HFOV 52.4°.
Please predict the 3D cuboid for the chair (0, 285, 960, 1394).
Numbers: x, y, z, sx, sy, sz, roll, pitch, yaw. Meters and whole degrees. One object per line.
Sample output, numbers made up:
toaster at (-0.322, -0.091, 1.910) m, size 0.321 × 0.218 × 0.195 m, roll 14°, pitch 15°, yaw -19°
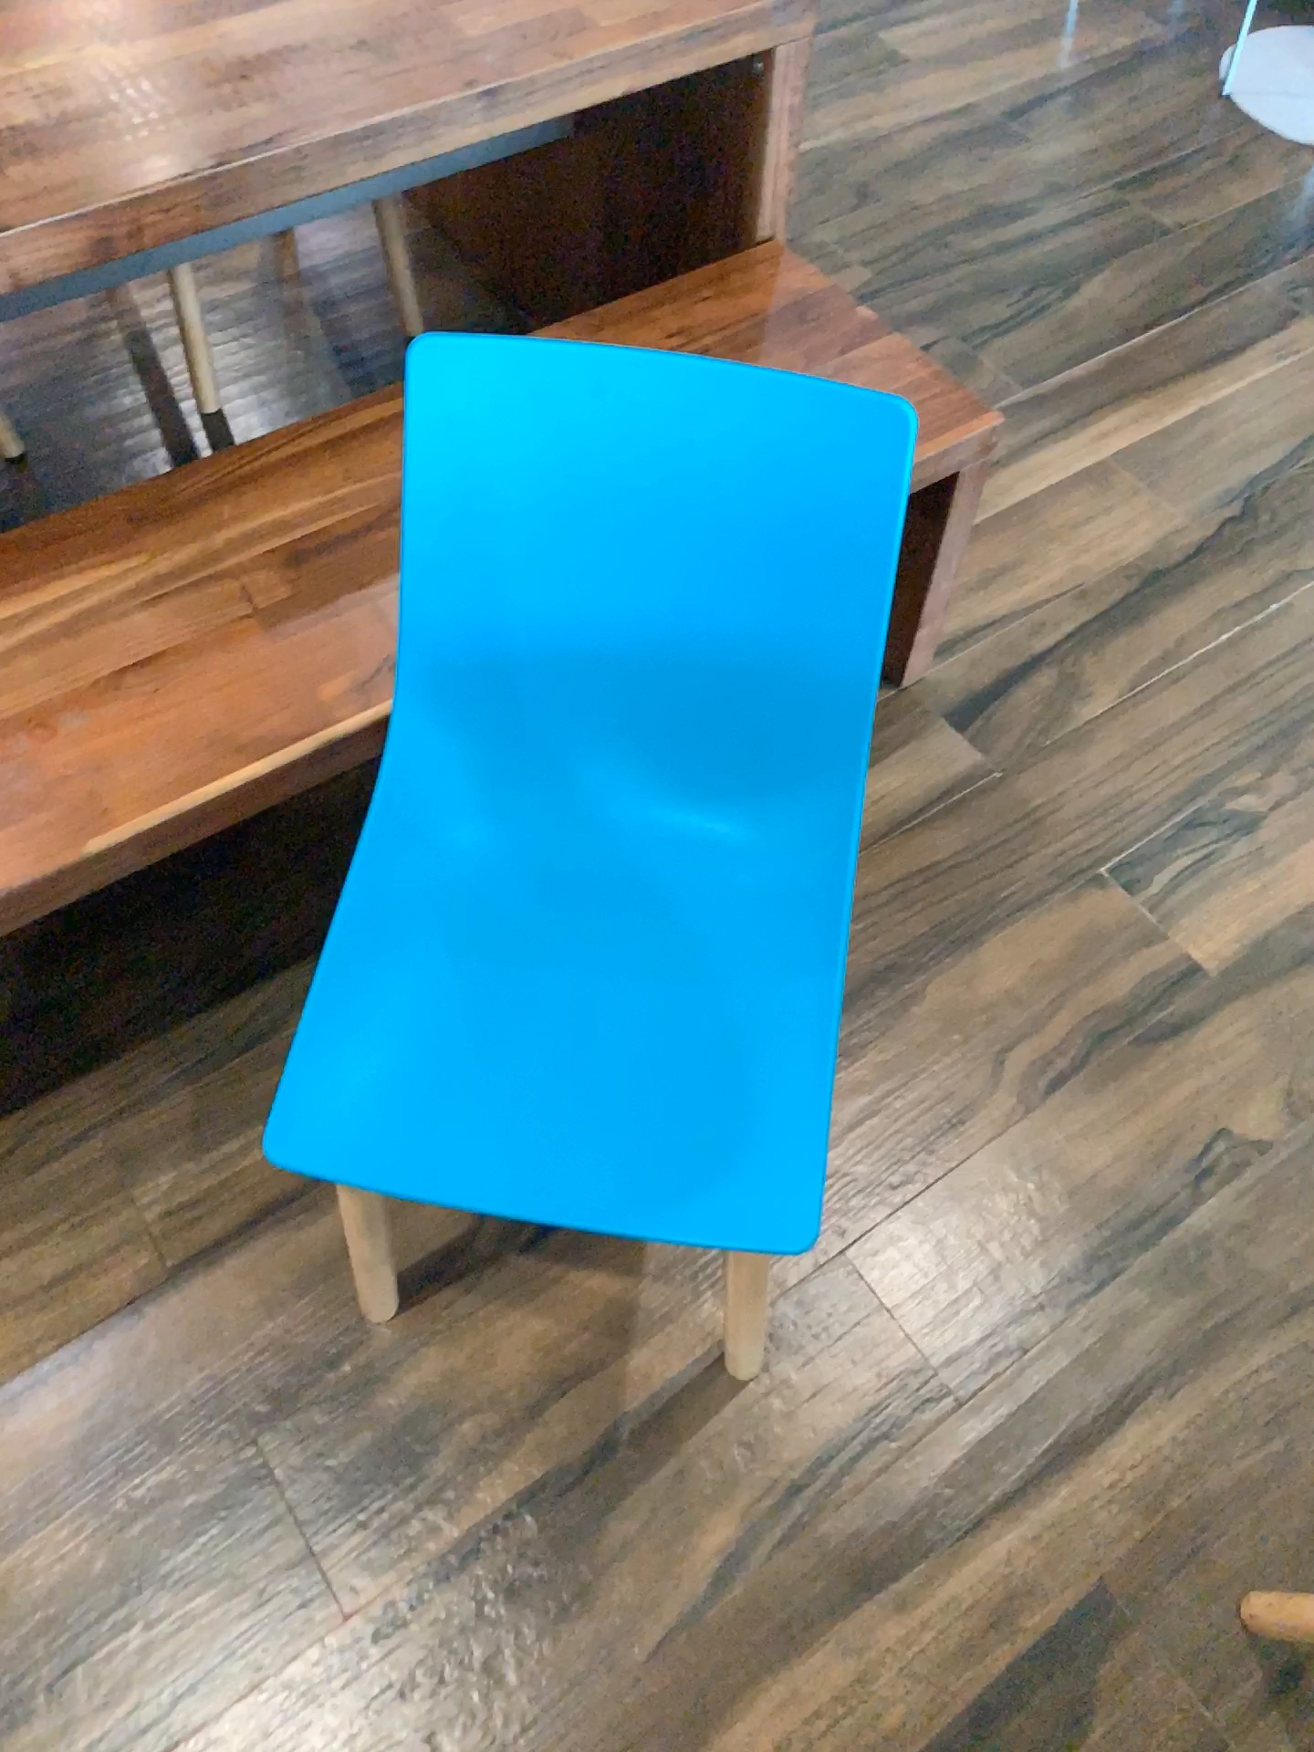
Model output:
chair at (-0.084, 0.010, 1.119) m, size 0.510 × 0.666 × 0.584 m, roll 9°, pitch 56°, yaw 3°
